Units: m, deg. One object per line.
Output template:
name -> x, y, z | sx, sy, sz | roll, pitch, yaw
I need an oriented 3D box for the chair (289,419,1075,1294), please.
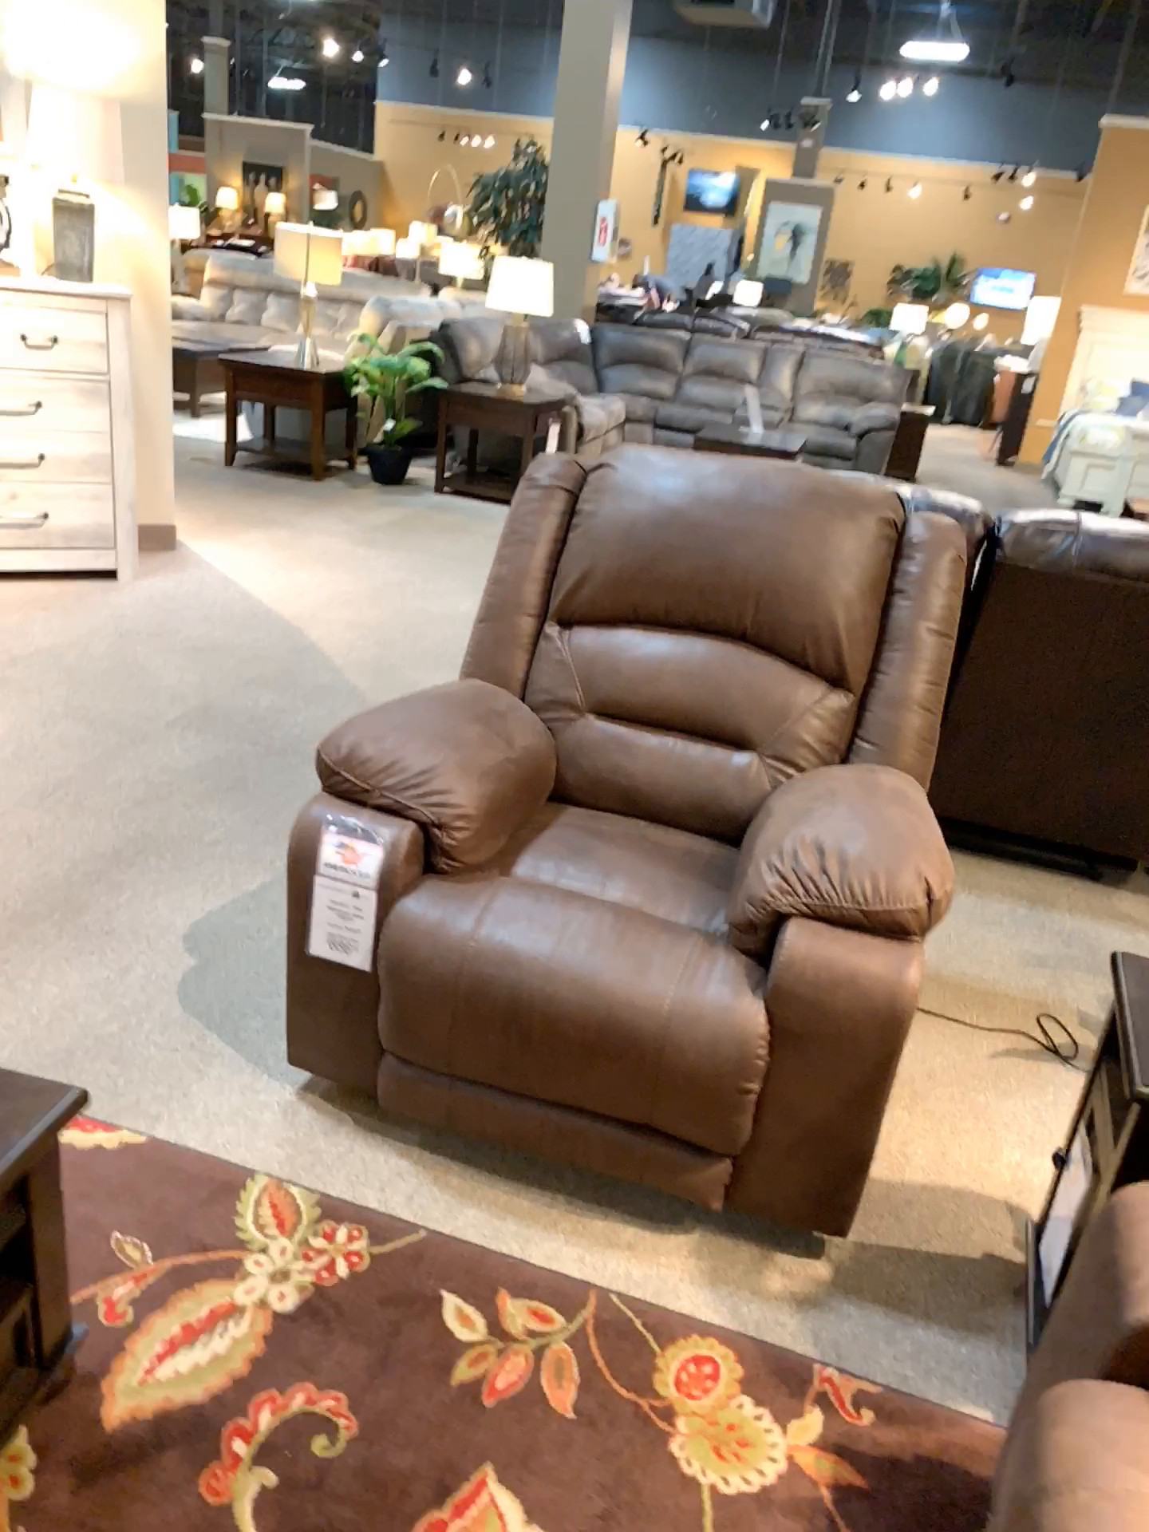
chair -> 0.216, 0.015, 2.134 | 1.000, 1.028, 1.069 | 14, 24, 15
